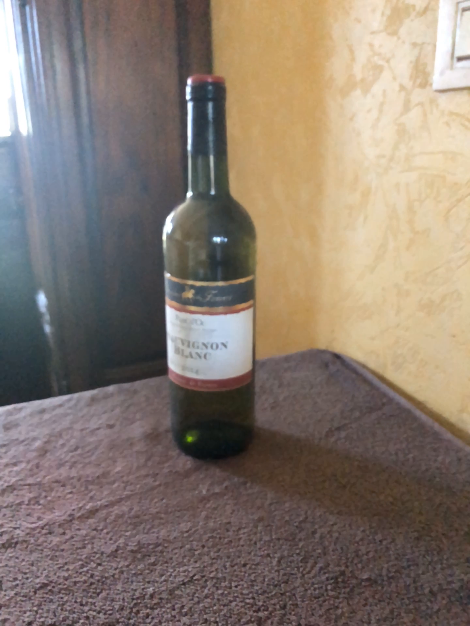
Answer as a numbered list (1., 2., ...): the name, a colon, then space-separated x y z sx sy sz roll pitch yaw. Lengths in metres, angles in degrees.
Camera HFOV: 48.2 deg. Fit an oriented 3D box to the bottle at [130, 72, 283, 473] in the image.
1. bottle: -0.017 -0.029 0.422 0.080 0.289 0.080 -1 17 0
